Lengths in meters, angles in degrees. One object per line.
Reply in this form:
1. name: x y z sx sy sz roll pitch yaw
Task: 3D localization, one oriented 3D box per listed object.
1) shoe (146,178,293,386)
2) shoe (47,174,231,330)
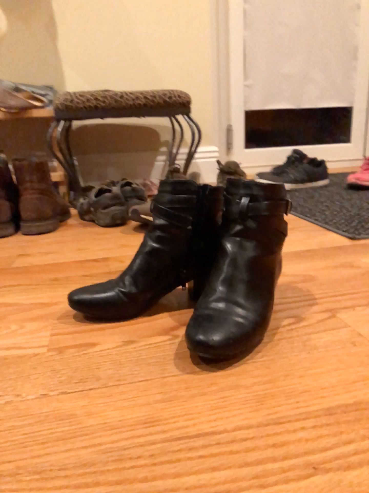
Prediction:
1. shoe: 0.058 0.018 0.486 0.090 0.172 0.227 5 17 26
2. shoe: -0.059 -0.001 0.562 0.226 0.172 0.090 -7 16 -14
